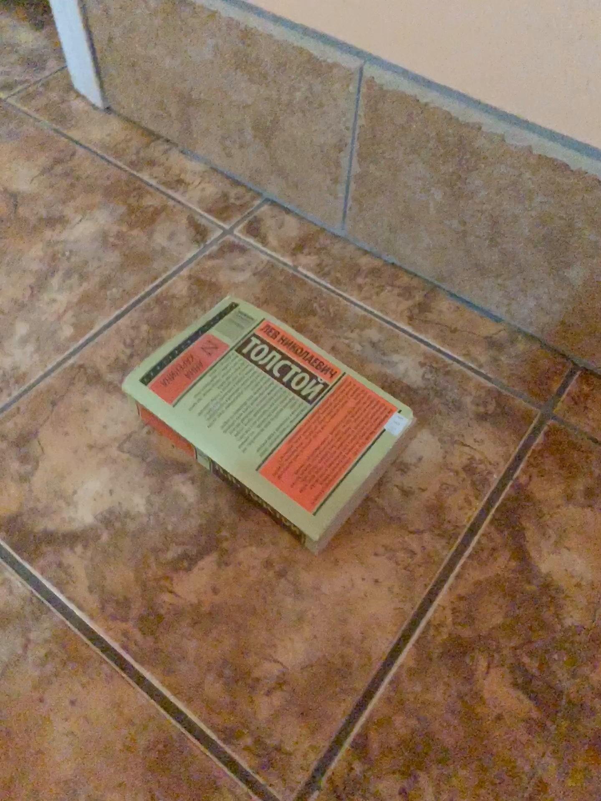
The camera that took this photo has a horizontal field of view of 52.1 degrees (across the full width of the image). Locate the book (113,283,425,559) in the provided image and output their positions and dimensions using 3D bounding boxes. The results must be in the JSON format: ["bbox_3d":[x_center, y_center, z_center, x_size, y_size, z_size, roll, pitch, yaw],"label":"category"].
[{"bbox_3d":[-0.023,0.006,0.449,0.185,0.044,0.120,34,61,19],"label":"book"}]
